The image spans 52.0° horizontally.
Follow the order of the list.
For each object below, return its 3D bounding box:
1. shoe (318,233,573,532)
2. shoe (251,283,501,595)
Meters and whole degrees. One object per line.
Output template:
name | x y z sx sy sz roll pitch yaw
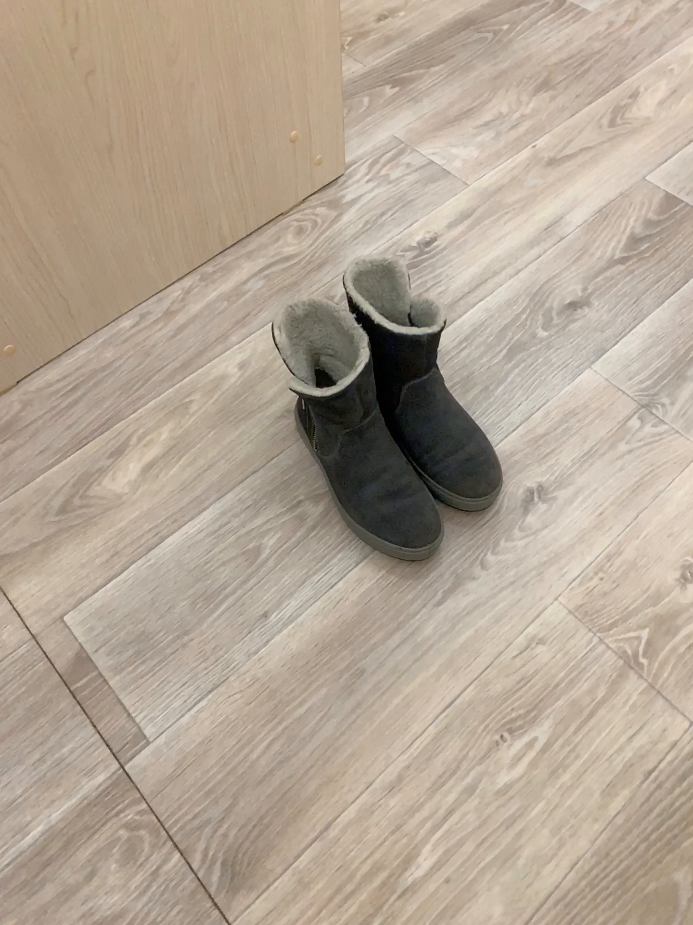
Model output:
shoe | 0.091 -0.087 0.772 0.100 0.169 0.271 -32 64 -16
shoe | 0.022 -0.024 0.756 0.100 0.179 0.271 -31 63 -16
